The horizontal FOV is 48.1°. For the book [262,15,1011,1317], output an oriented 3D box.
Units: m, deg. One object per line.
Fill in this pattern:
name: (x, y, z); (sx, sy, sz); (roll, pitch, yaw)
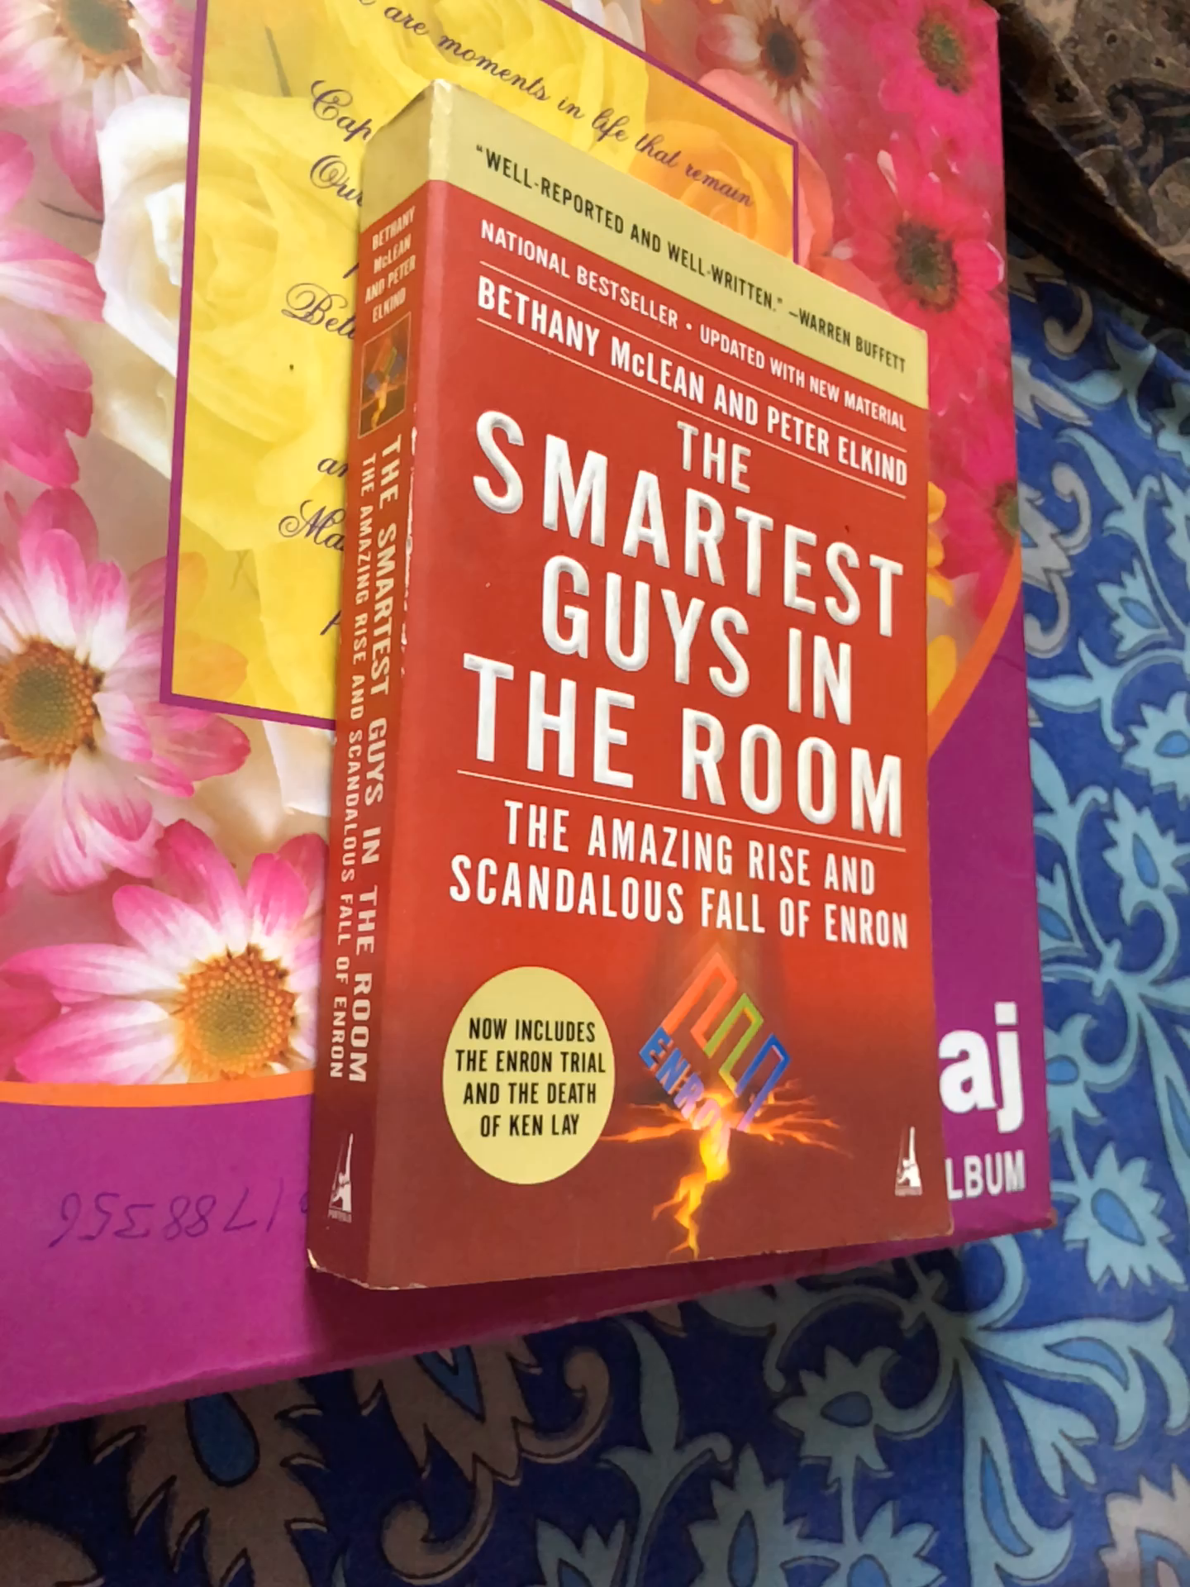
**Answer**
book: (0.020, -0.018, 0.276); (0.151, 0.040, 0.220); (9, 79, -33)
